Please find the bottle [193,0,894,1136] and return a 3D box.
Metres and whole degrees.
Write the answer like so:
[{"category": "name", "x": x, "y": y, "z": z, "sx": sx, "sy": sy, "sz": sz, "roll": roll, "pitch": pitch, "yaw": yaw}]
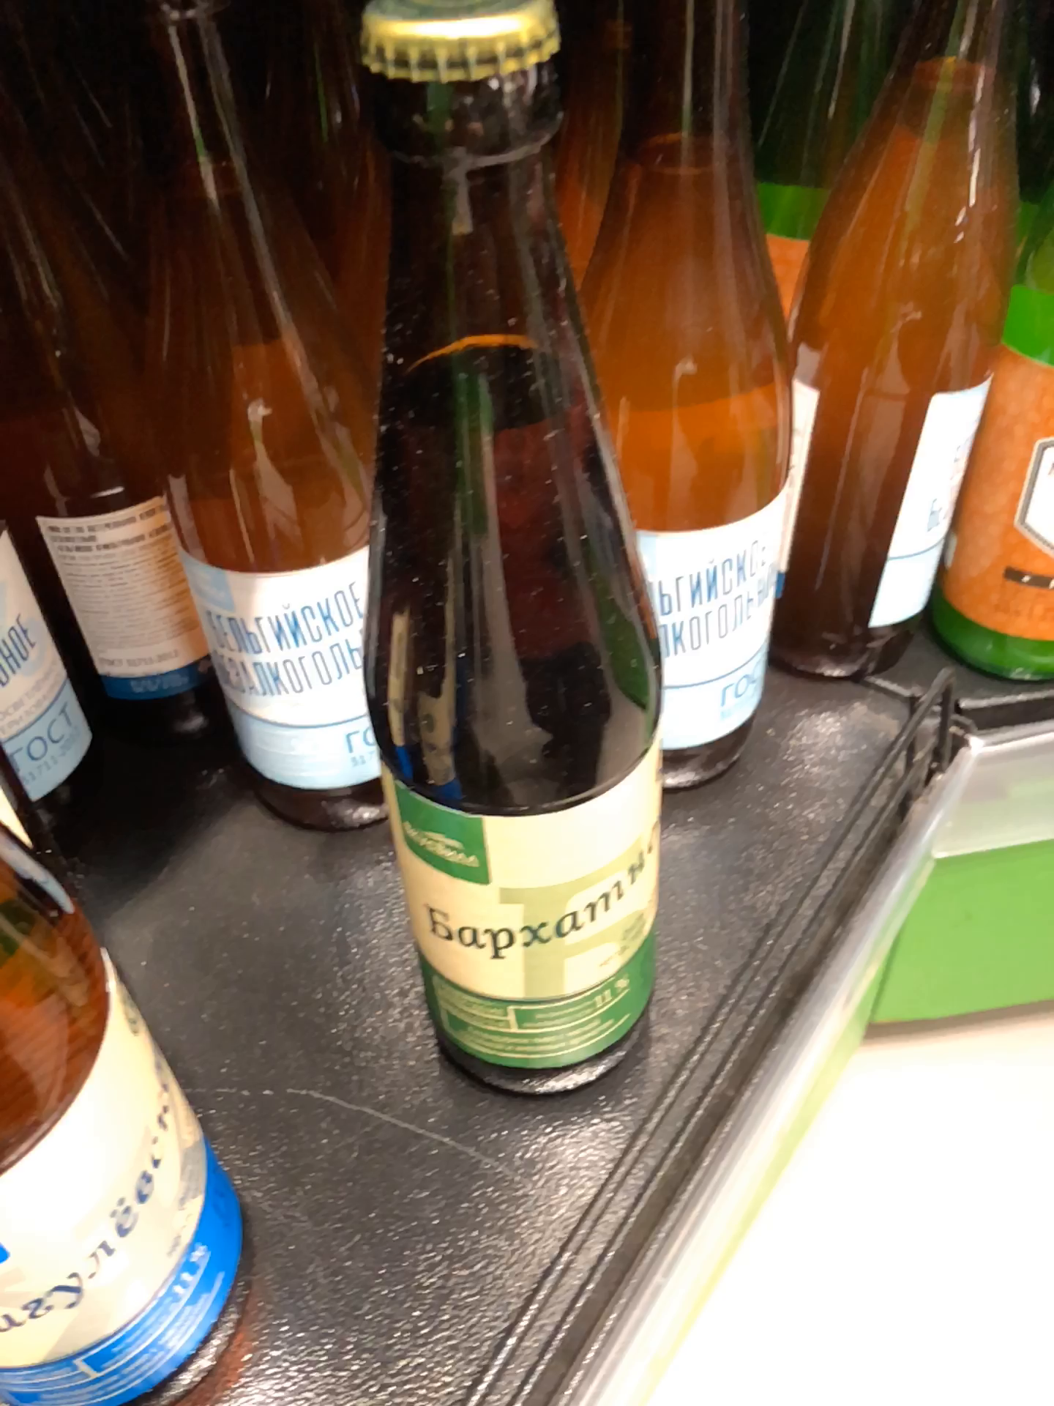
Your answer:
[{"category": "bottle", "x": 0.002, "y": -0.010, "z": 0.251, "sx": 0.080, "sy": 0.249, "sz": 0.070, "roll": -15, "pitch": 45, "yaw": -12}]
